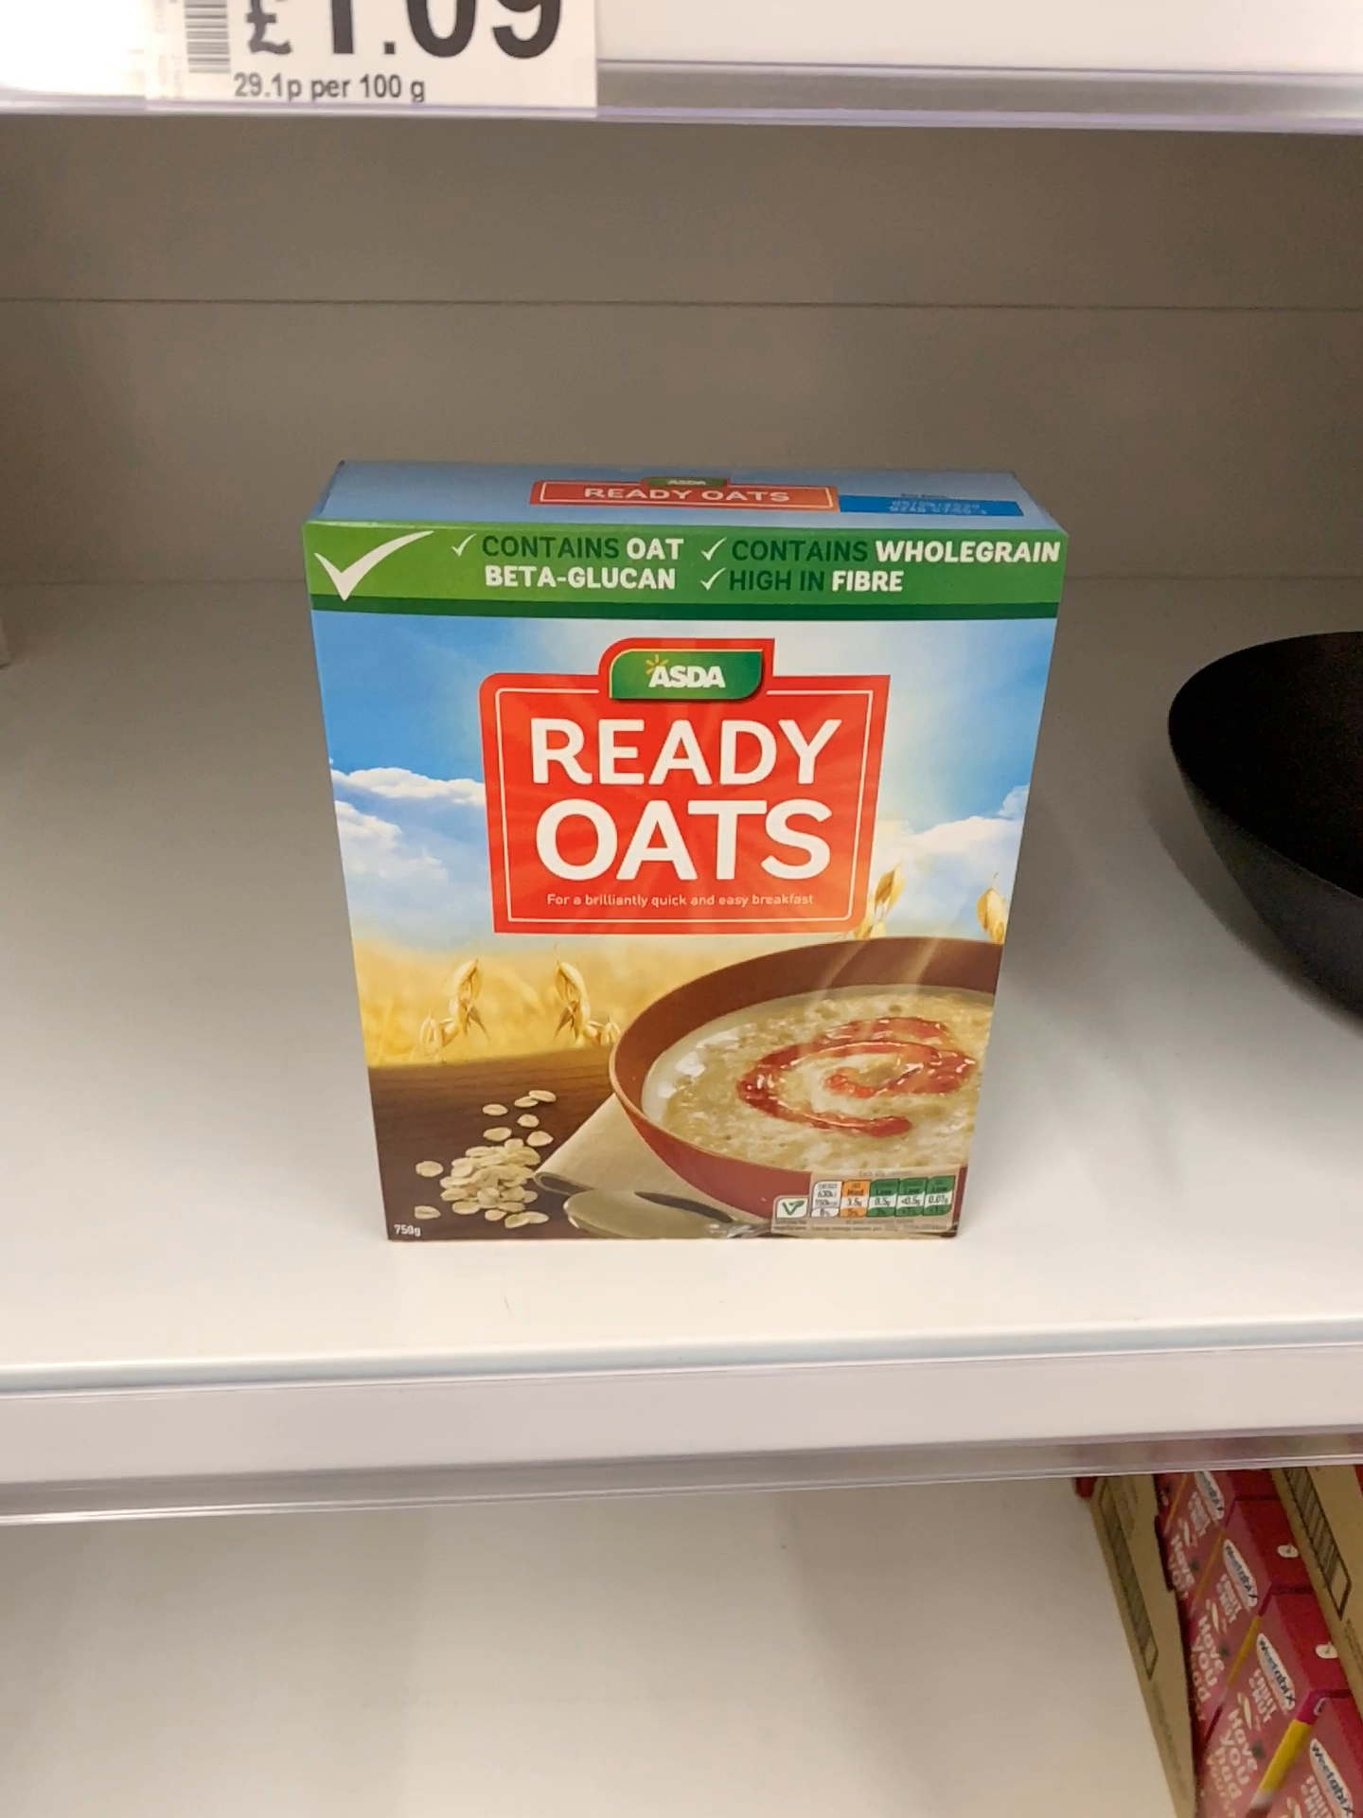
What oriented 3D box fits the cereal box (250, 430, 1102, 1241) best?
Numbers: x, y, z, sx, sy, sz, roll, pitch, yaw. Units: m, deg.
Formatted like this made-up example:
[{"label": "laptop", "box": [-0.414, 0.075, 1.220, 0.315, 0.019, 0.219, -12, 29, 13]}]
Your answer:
[{"label": "cereal box", "box": [-0.004, -0.015, 0.464, 0.220, 0.258, 0.081, 0, 32, -2]}]
